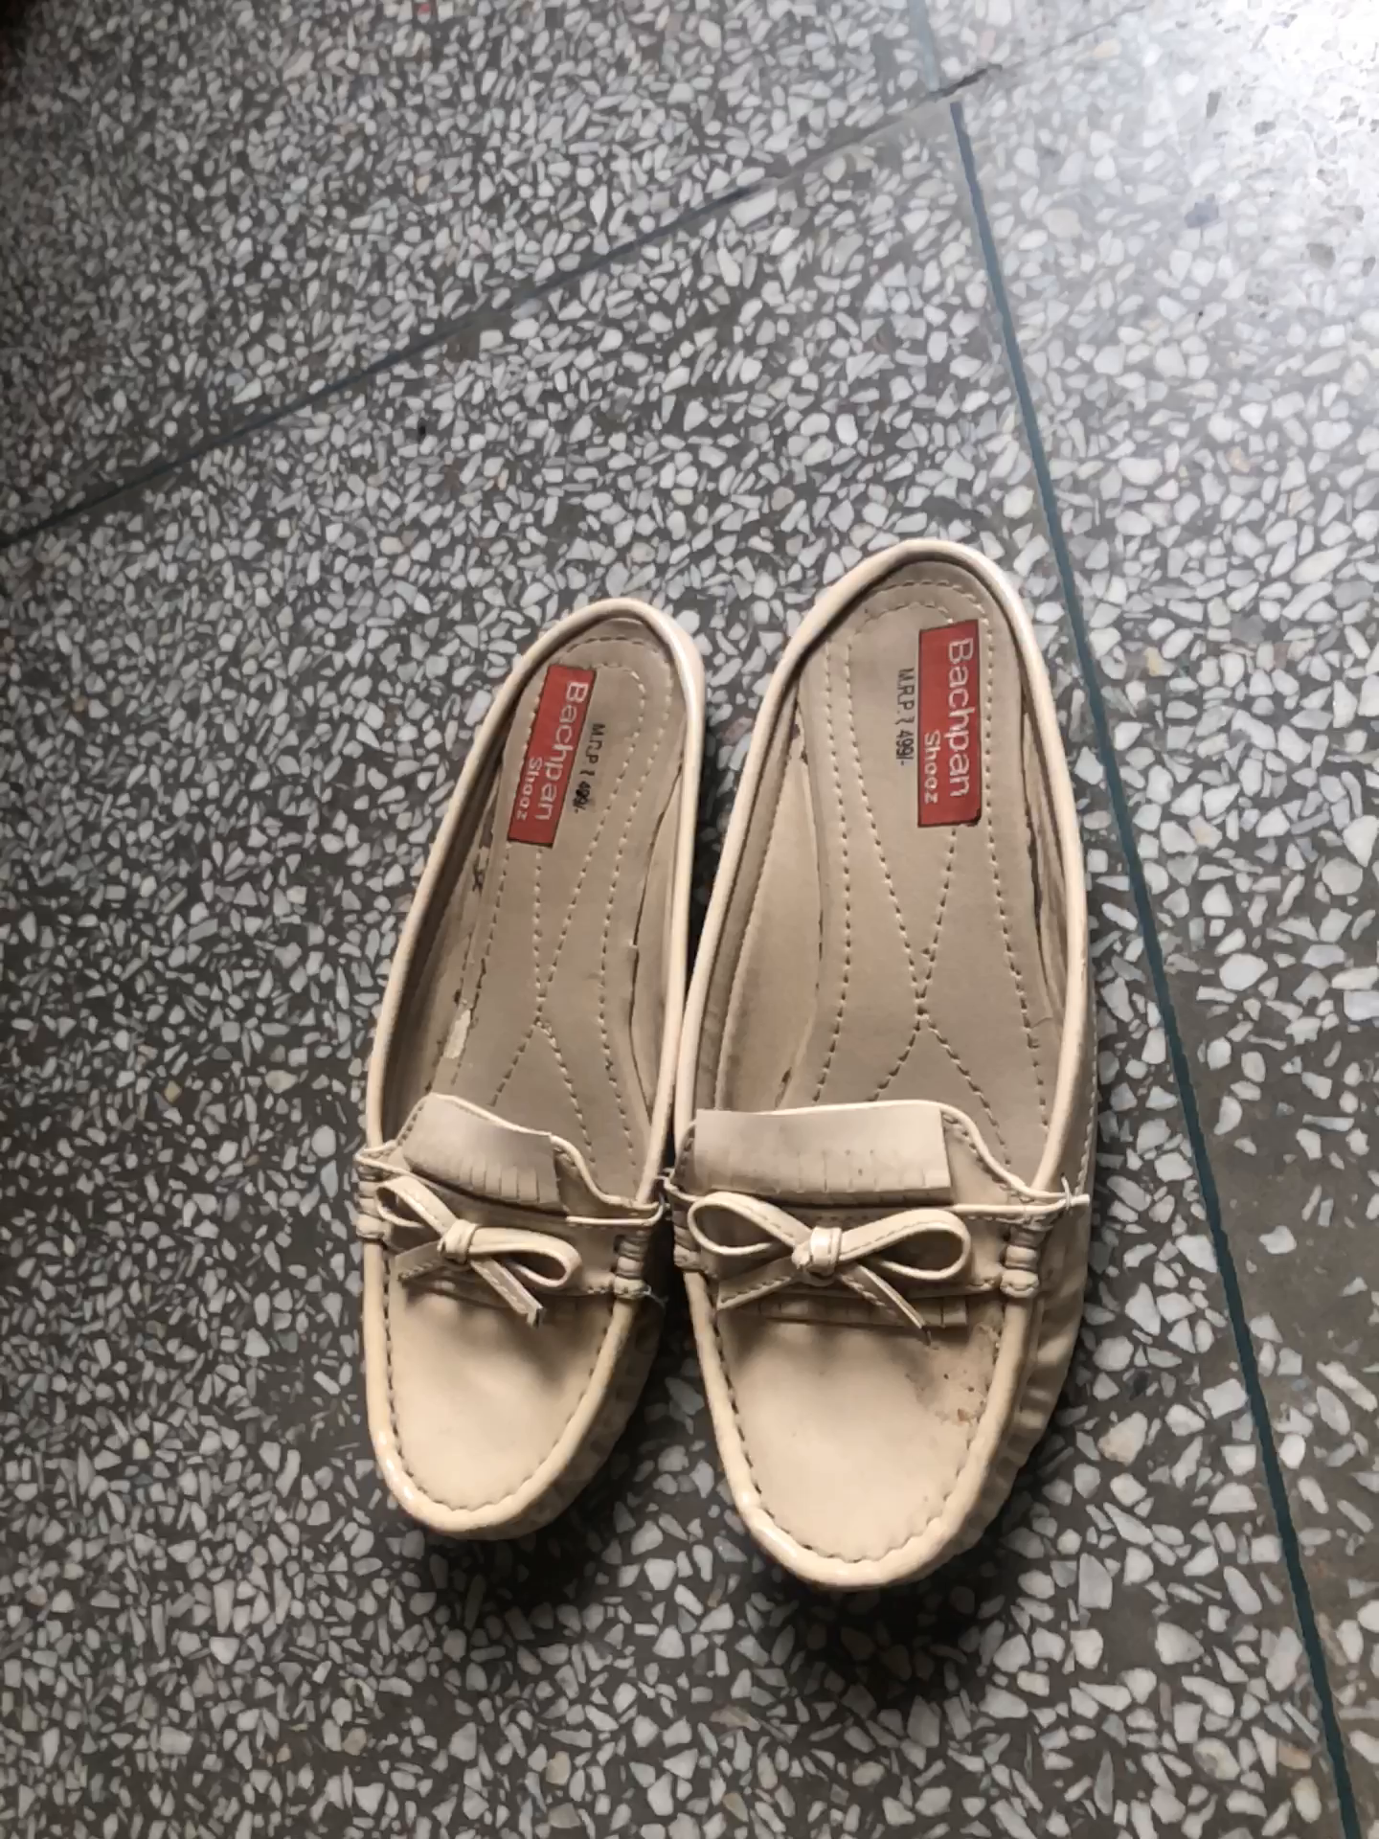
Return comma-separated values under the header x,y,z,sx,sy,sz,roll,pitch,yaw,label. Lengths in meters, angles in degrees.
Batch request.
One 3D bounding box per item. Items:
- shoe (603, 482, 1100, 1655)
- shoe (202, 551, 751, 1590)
x,y,z,sx,sy,sz,roll,pitch,yaw,label
0.035,0.024,0.311,0.080,0.040,0.210,-1,78,28,shoe
-0.048,0.028,0.363,0.090,0.040,0.220,3,81,29,shoe
